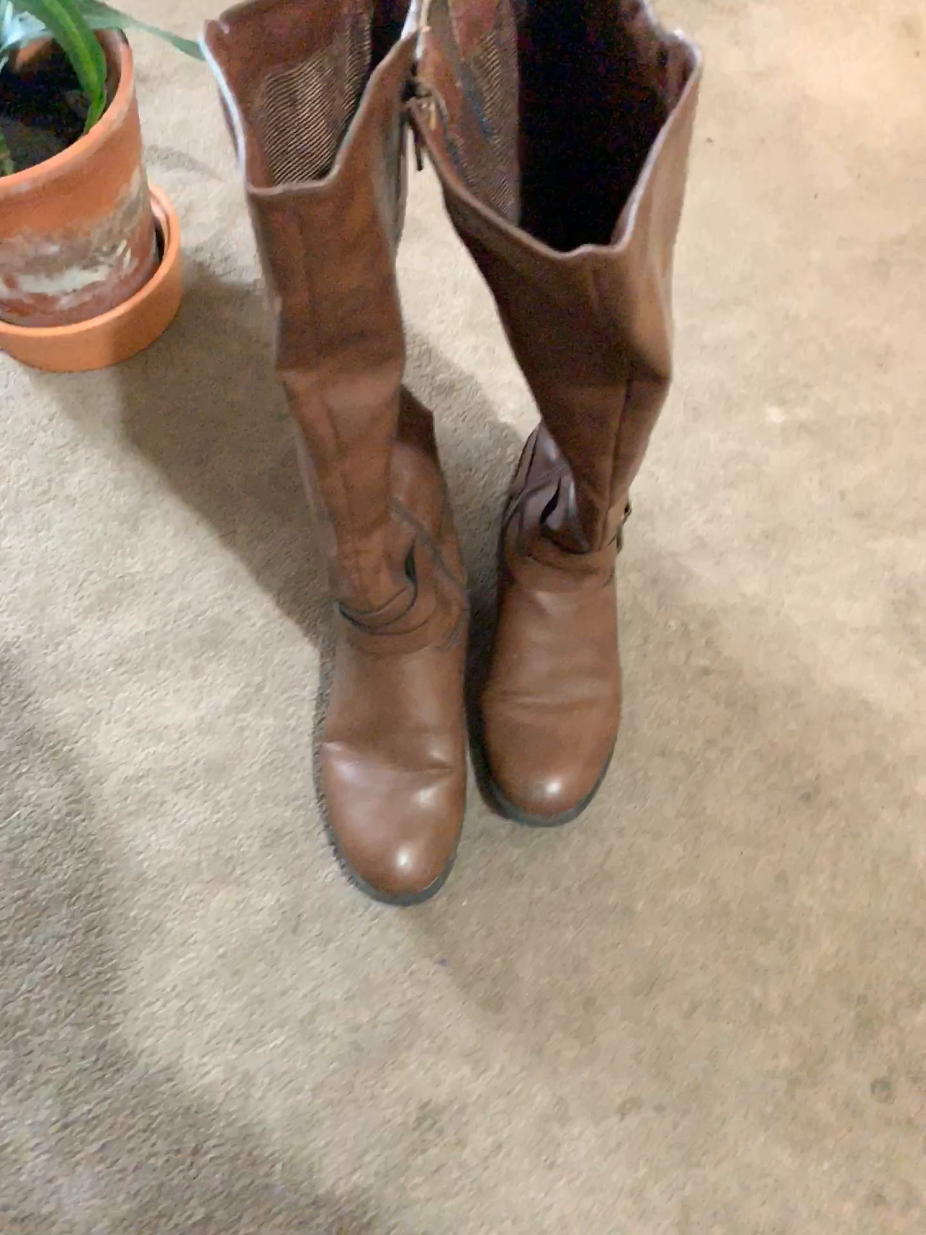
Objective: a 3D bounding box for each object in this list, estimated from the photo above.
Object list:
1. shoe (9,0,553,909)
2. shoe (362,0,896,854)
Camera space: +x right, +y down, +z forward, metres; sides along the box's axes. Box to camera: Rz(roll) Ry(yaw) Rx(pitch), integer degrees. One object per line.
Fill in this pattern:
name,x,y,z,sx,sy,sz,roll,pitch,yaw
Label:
shoe,-0.038,-0.031,0.414,0.110,0.368,0.261,-1,66,0
shoe,0.052,-0.066,0.451,0.120,0.398,0.271,6,66,3
